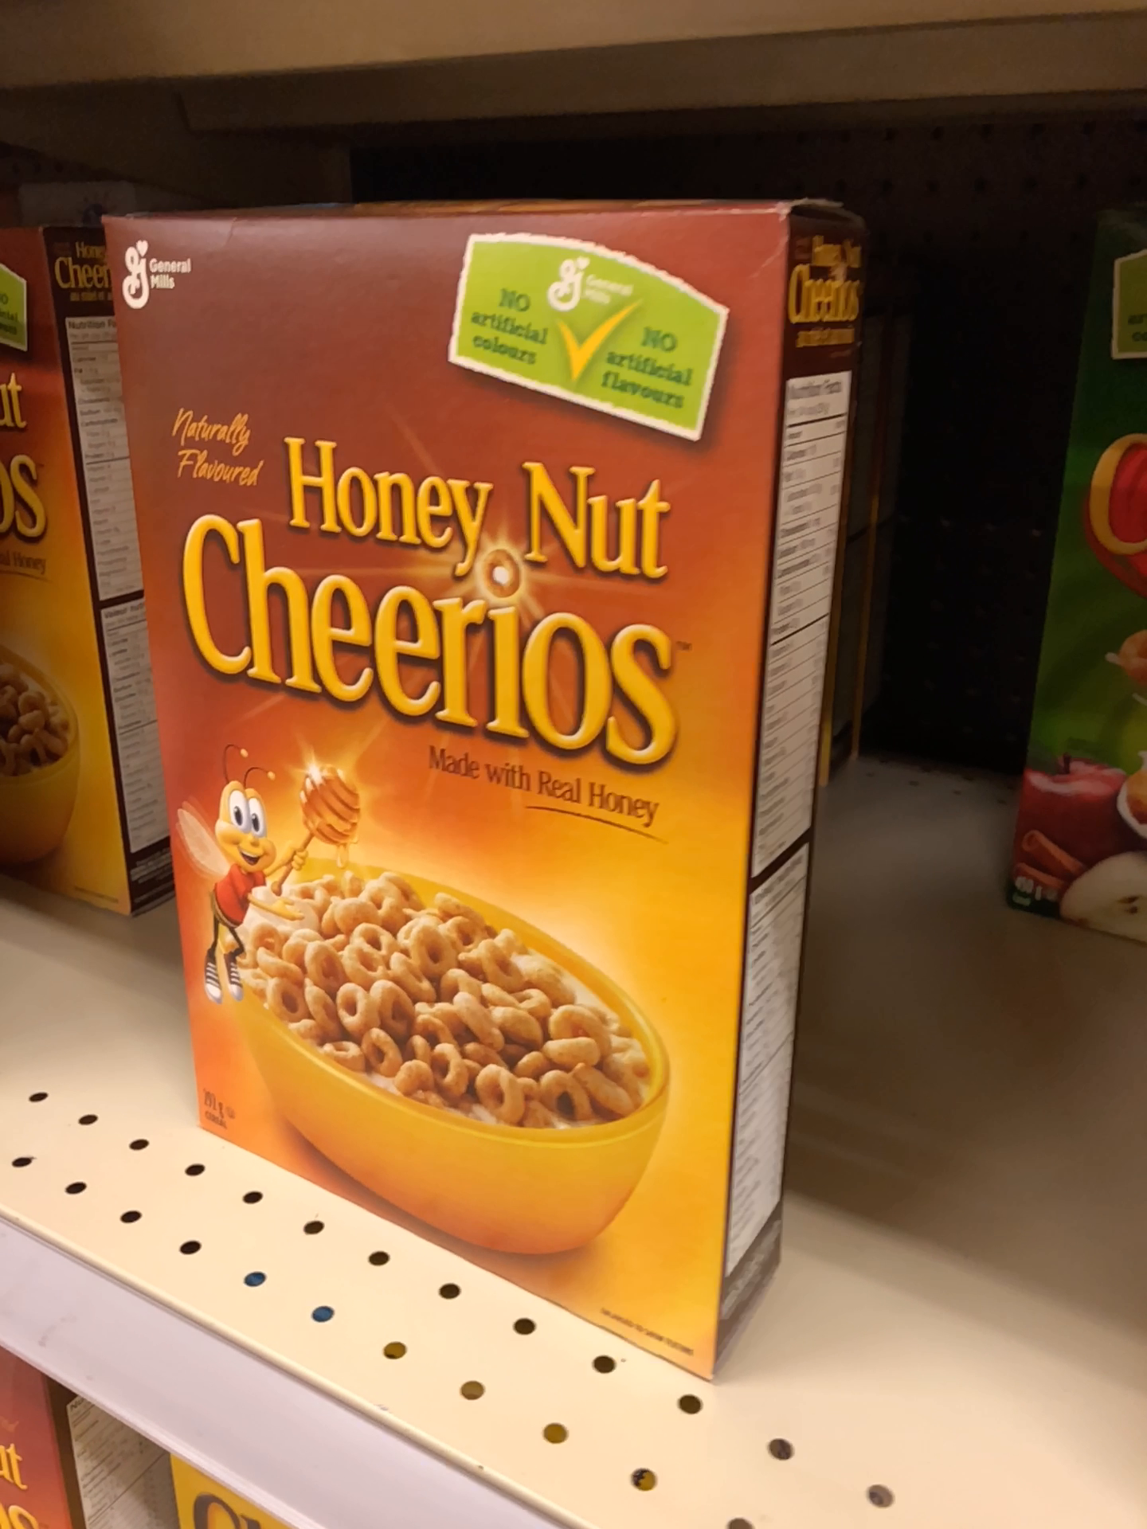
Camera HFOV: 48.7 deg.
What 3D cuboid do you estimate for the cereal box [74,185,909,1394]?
[{"bbox_3d":[-0.029,-0.001,0.334,0.190,0.269,0.060,14,24,30],"label":"cereal box"}]
